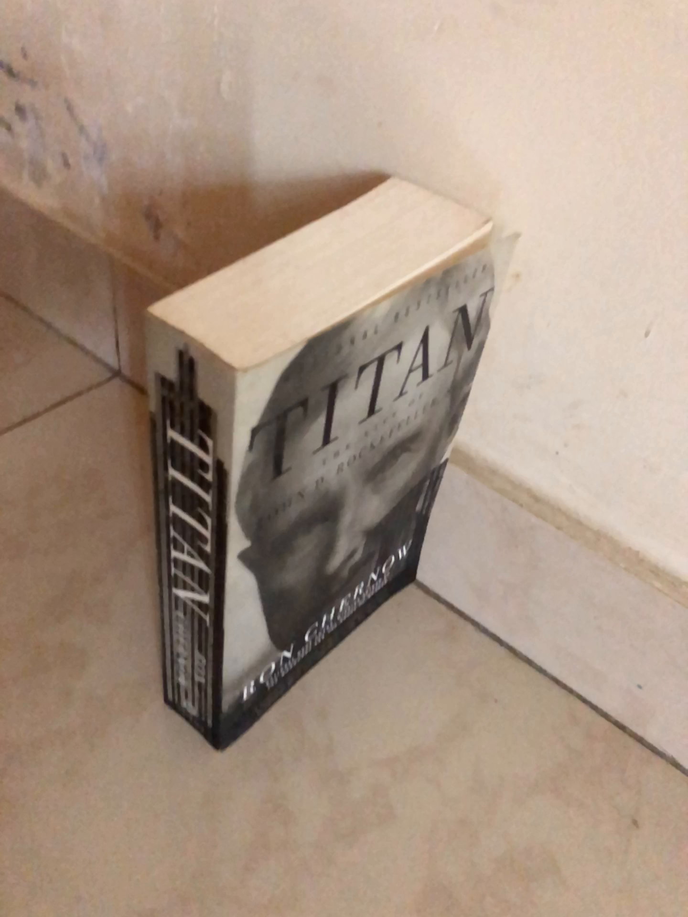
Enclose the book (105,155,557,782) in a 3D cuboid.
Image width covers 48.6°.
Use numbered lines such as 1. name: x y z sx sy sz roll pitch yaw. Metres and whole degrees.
1. book: -0.004 0.005 0.357 0.060 0.229 0.201 31 46 21
